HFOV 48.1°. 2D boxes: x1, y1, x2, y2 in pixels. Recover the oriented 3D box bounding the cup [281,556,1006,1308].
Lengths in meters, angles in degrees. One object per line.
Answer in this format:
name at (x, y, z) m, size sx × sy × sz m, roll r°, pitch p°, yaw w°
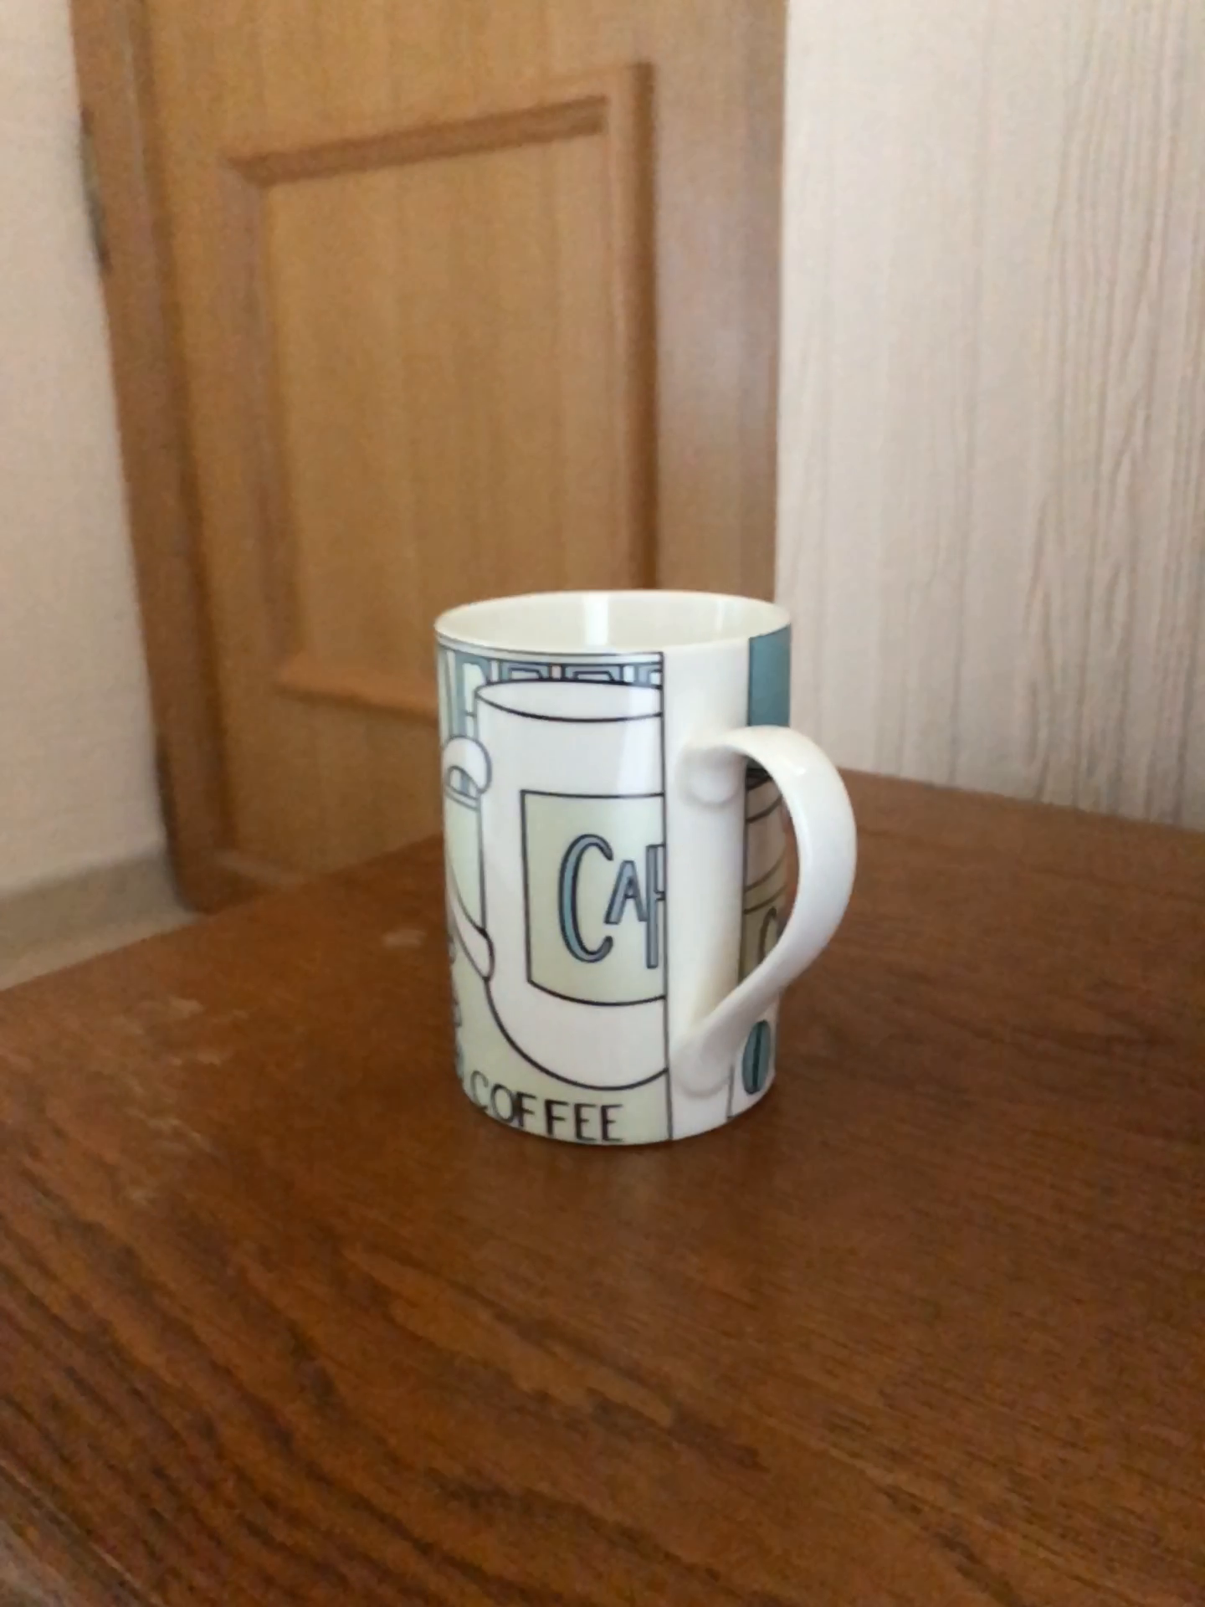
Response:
cup at (0.002, 0.010, 0.267) m, size 0.080 × 0.100 × 0.120 m, roll -12°, pitch 20°, yaw -33°
